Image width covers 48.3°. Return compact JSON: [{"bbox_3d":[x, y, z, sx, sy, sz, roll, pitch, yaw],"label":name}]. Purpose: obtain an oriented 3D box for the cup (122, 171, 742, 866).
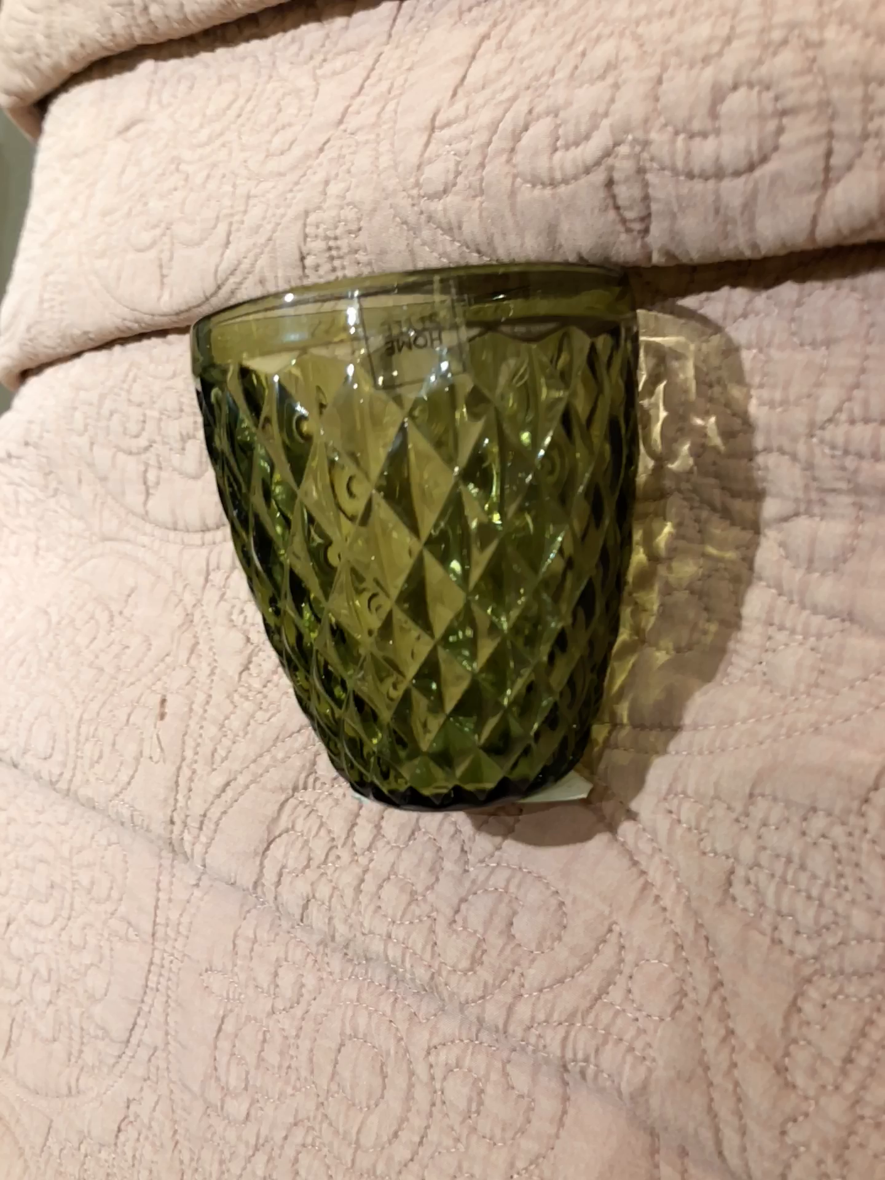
[{"bbox_3d":[0.000,-0.017,0.192,0.080,0.070,0.100,2,106,44],"label":"cup"}]
